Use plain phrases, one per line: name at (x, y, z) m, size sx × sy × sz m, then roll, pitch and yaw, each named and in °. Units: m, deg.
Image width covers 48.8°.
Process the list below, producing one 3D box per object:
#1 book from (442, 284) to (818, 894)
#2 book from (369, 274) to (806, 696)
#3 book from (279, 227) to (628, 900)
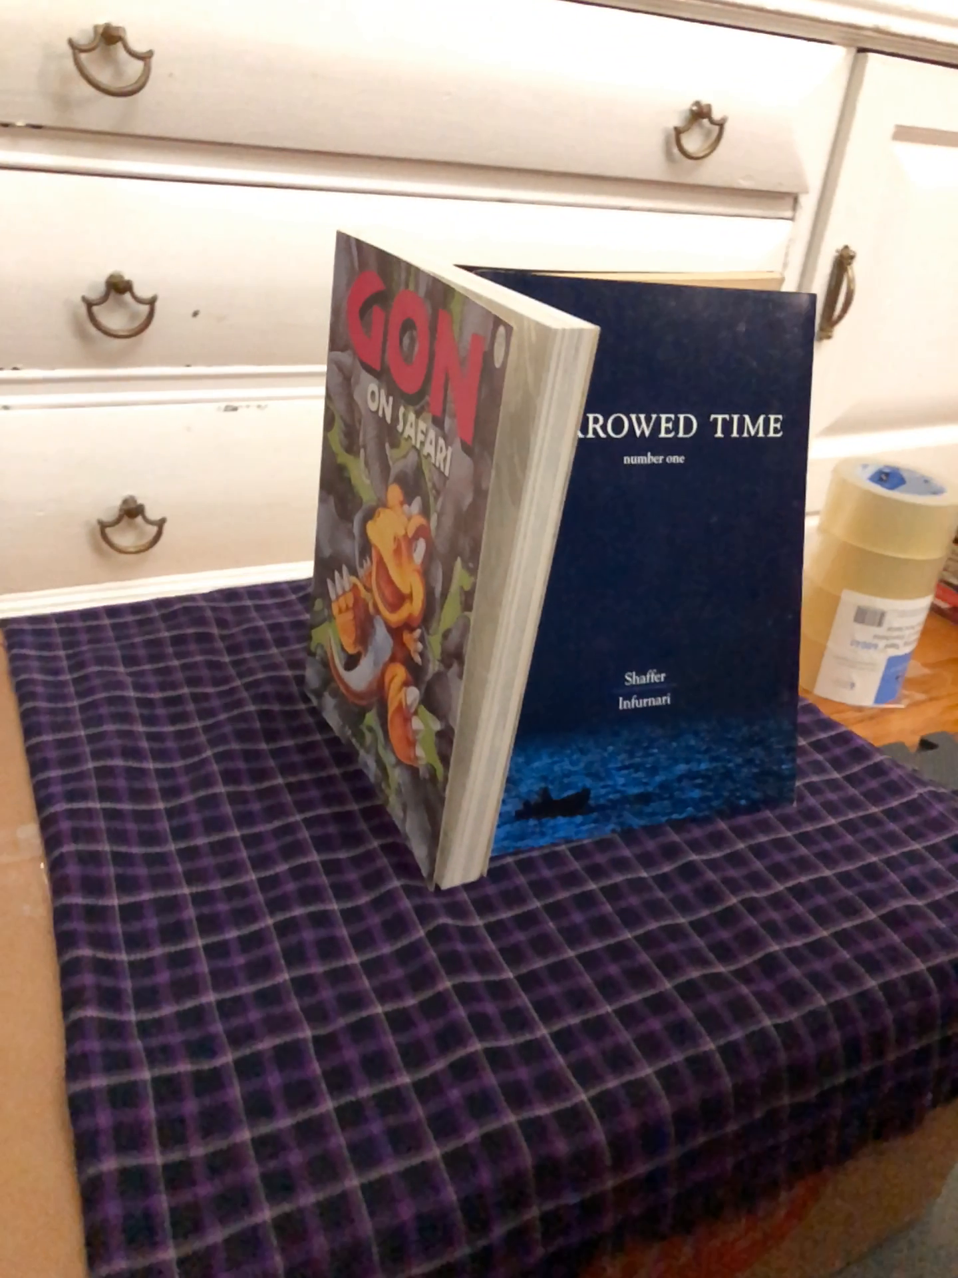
book at (0.061, -0.020, 0.381) m, size 0.150 × 0.200 × 0.010 m, roll -7°, pitch 10°, yaw -26°
book at (0.037, -0.058, 0.440) m, size 0.140 × 0.199 × 0.010 m, roll -10°, pitch 51°, yaw -27°
book at (-0.023, -0.031, 0.368) m, size 0.020 × 0.189 × 0.141 m, roll -3°, pitch 29°, yaw -33°
